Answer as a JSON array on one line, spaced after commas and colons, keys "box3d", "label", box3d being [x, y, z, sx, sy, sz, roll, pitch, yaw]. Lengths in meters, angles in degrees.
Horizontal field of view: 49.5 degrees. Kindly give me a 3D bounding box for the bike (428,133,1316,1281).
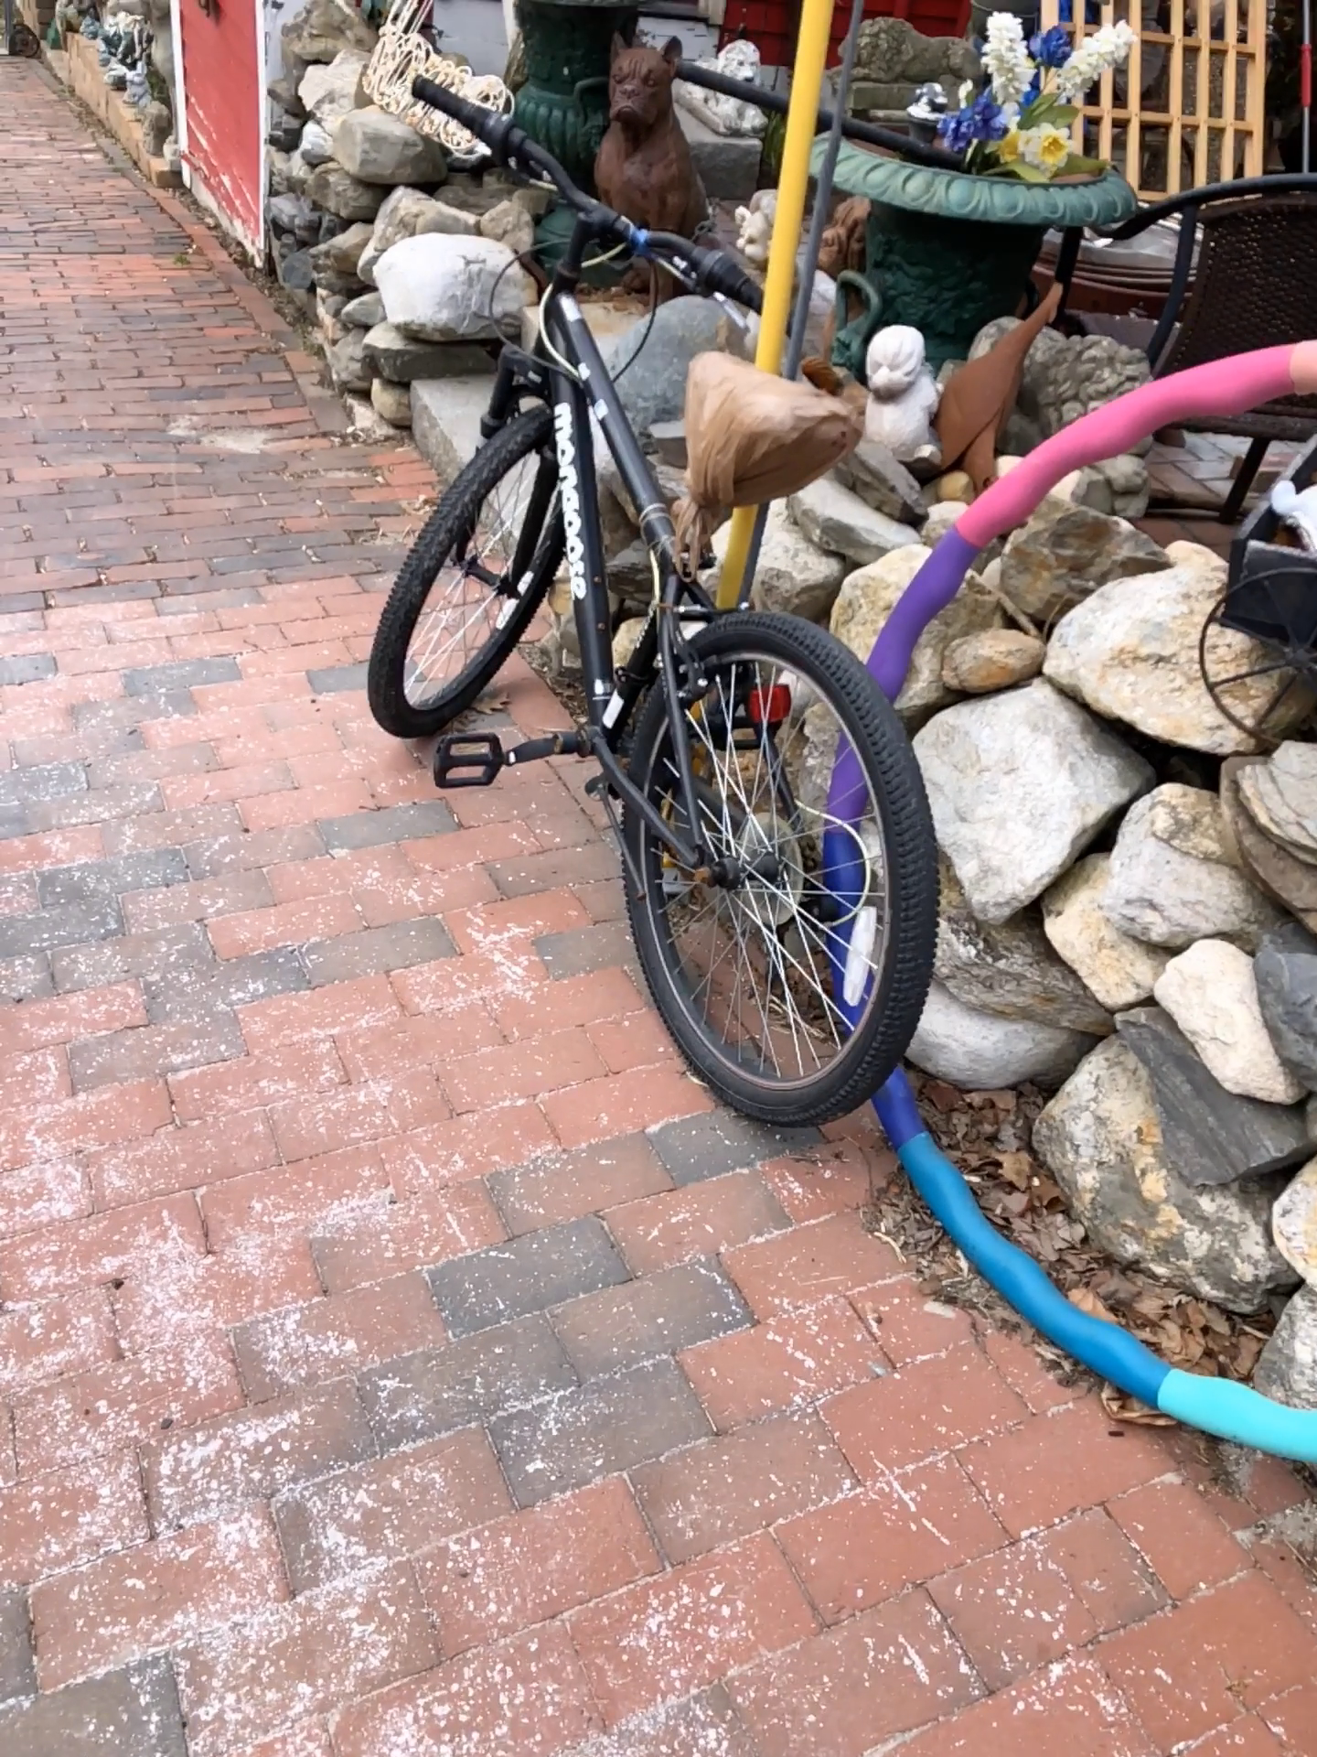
[{"box3d": [0.115, -0.381, 1.945, 0.633, 0.873, 1.416, -6, 40, -18], "label": "bike"}]
